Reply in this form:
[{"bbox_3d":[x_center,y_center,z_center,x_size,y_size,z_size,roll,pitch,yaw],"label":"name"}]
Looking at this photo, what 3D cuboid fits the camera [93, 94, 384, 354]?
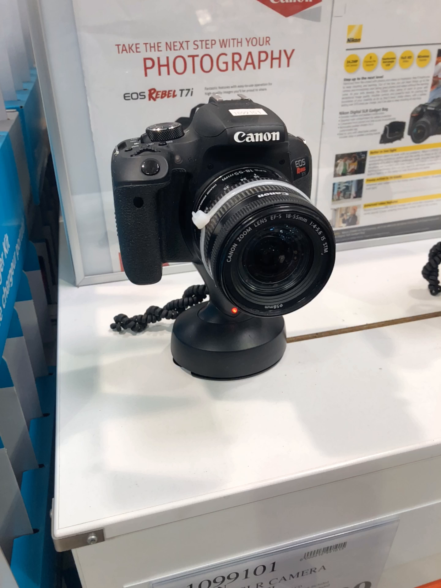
[{"bbox_3d":[-0.003,-0.058,0.313,0.130,0.100,0.151,-9,33,-14],"label":"camera"}]
